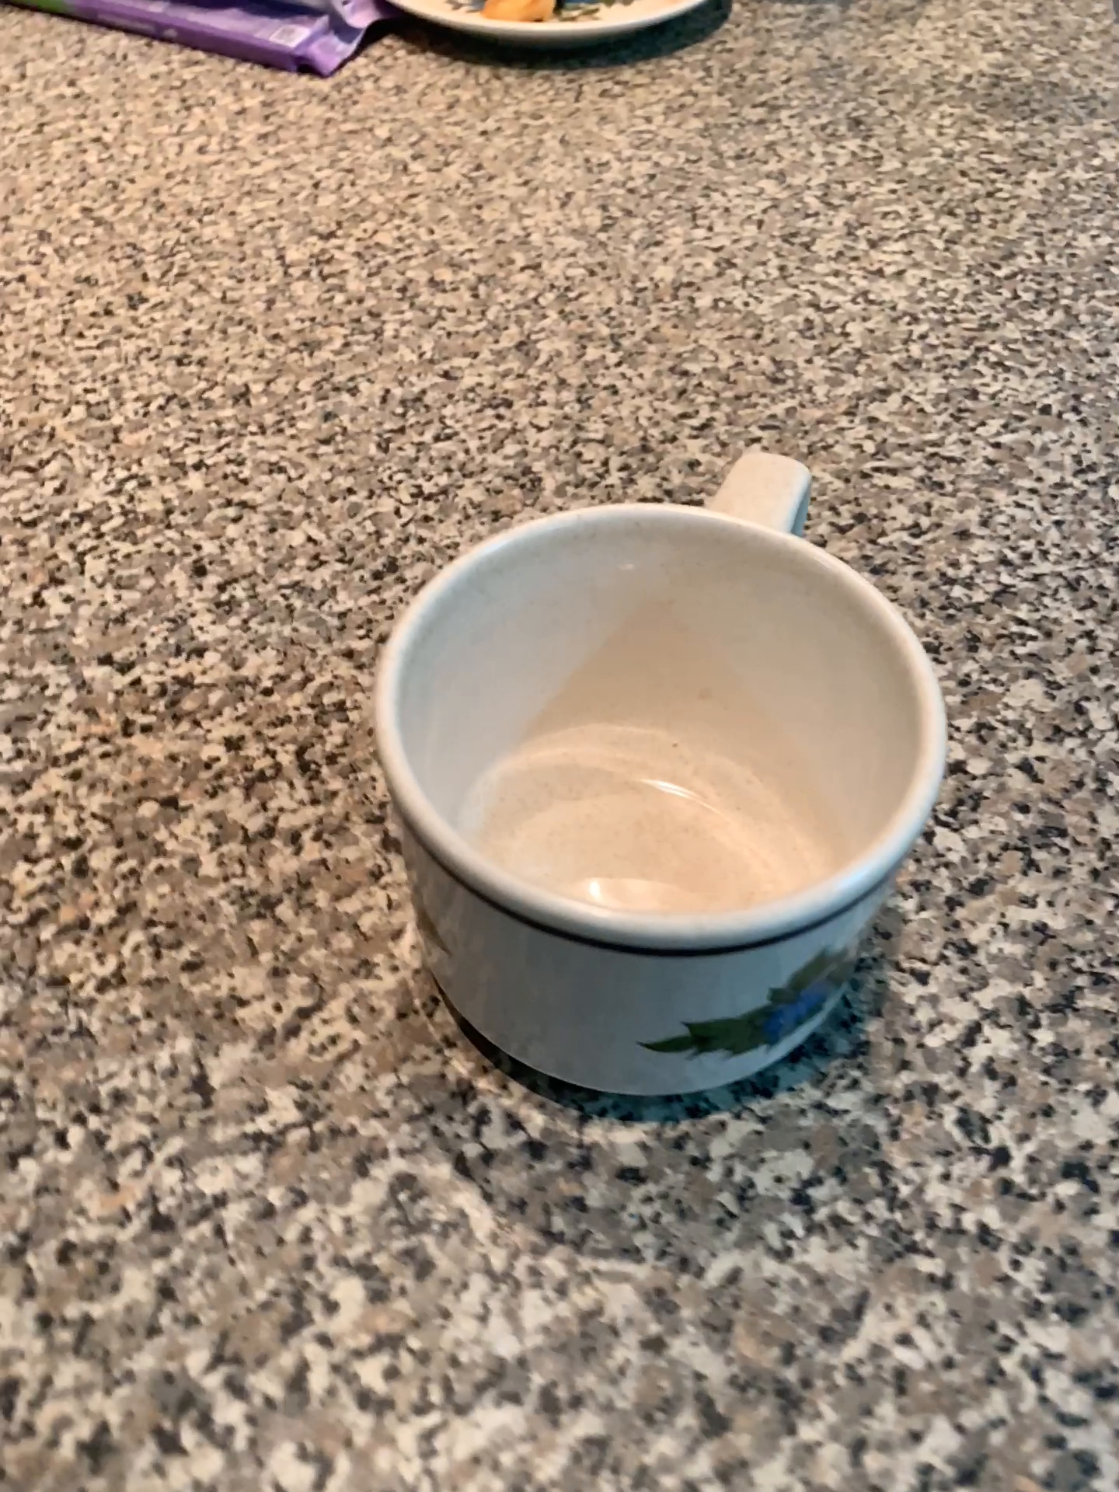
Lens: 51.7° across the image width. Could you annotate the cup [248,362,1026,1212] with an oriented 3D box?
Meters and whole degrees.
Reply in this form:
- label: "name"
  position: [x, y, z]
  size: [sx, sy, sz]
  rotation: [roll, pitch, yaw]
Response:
- label: "cup"
  position: [0.020, -0.001, 0.197]
  size: [0.087, 0.054, 0.117]
  rotation: [17, 53, 12]
